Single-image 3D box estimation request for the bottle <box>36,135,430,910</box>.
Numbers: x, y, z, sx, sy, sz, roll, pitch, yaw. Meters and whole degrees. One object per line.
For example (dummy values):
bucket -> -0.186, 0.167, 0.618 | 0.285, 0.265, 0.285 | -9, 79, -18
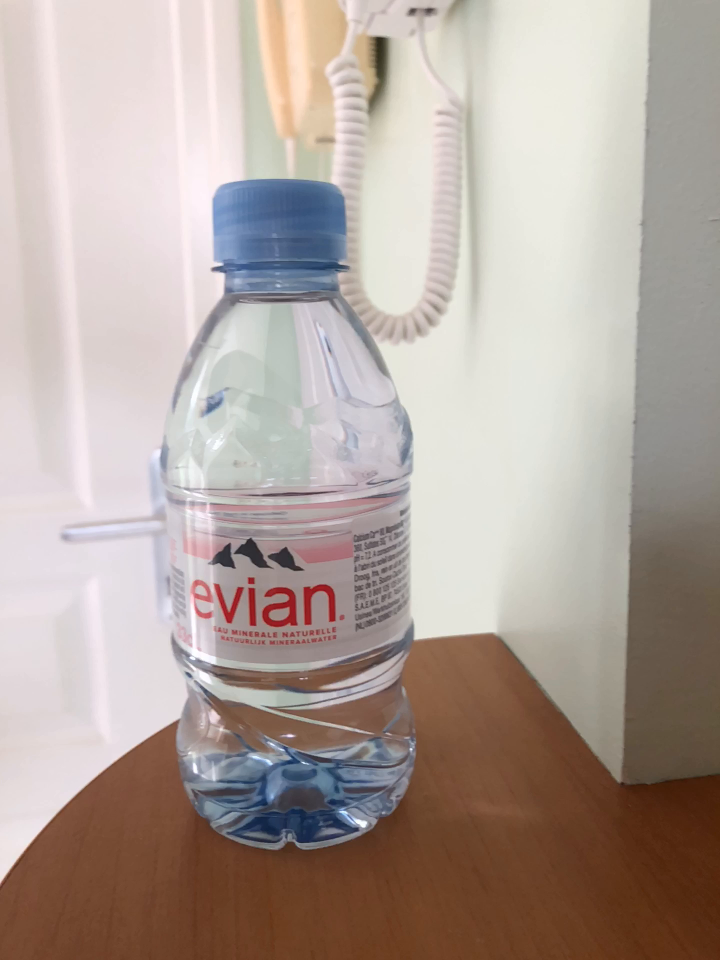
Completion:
bottle -> -0.022, 0.008, 0.203 | 0.070, 0.160, 0.070 | -1, 10, 0
